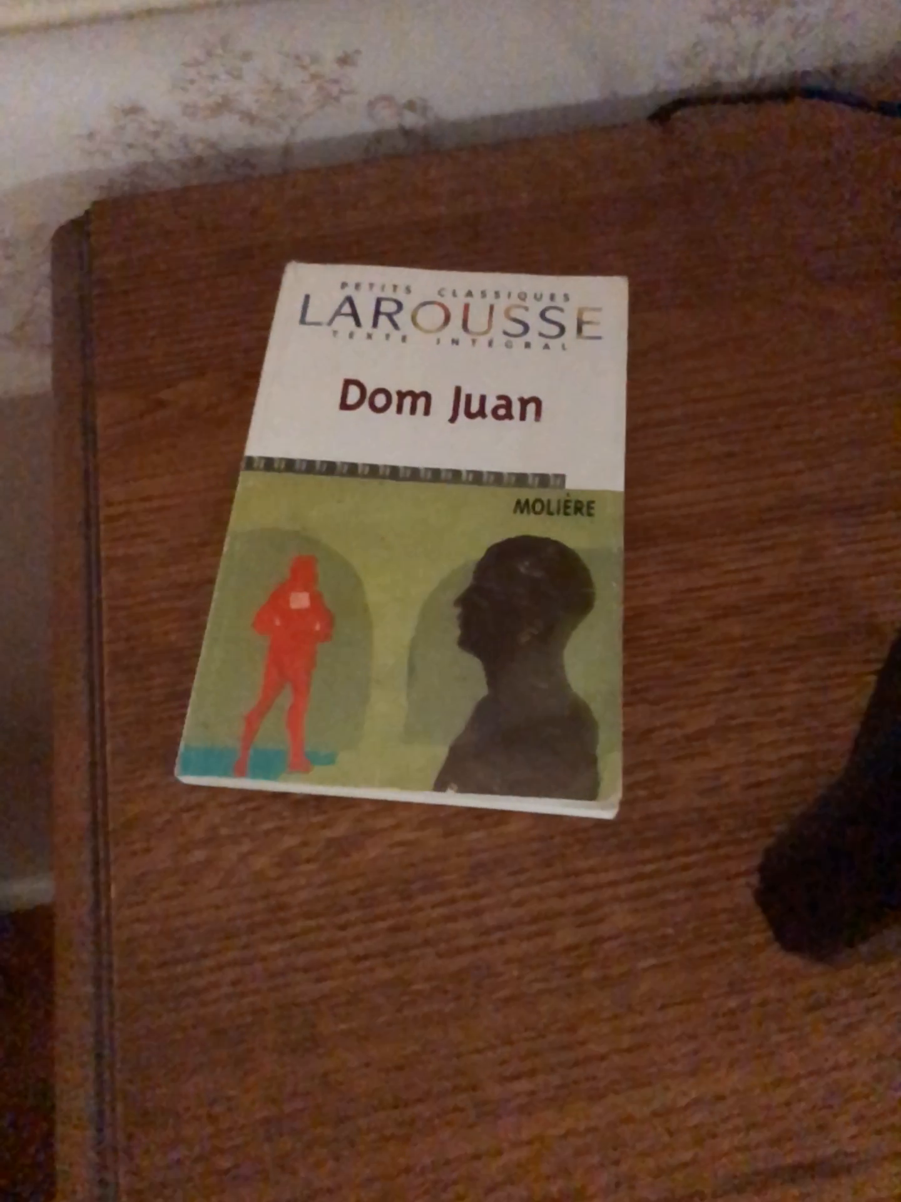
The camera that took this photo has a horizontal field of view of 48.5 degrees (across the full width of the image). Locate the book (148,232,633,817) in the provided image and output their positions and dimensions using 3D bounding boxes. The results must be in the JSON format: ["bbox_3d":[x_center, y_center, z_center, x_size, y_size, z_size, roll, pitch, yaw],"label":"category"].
[{"bbox_3d":[-0.008,-0.034,0.287,0.115,0.010,0.181,5,63,3],"label":"book"}]
